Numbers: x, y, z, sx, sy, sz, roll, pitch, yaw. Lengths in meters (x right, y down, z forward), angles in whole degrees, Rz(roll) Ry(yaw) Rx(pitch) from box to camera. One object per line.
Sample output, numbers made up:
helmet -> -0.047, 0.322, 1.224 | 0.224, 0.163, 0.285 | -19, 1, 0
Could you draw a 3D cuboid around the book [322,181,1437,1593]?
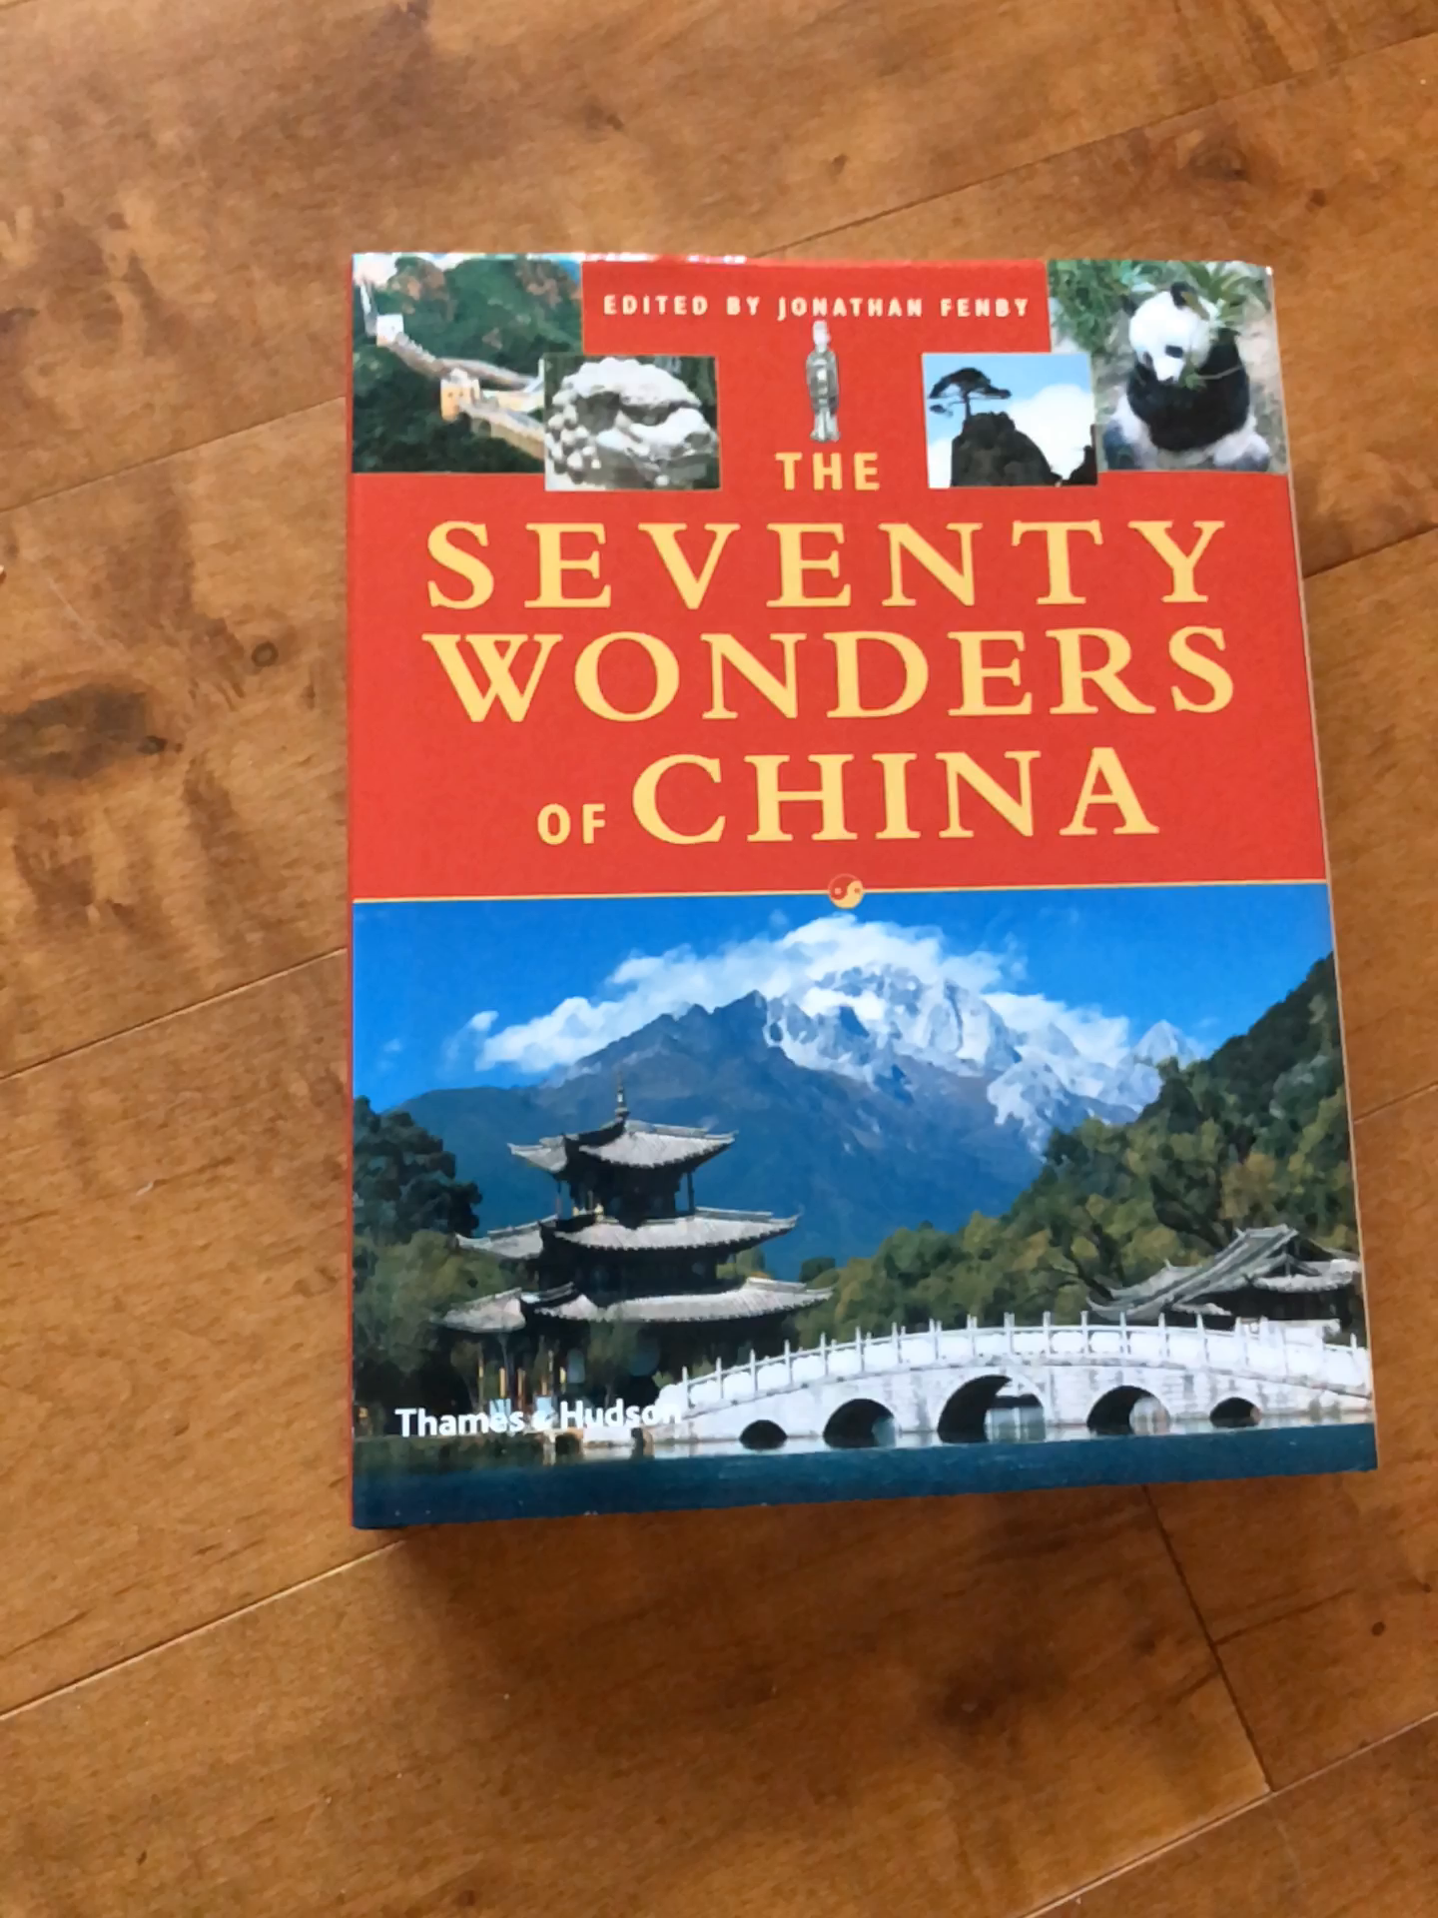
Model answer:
book -> 0.029, -0.025, 0.354 | 0.220, 0.050, 0.290 | -2, 81, -4
